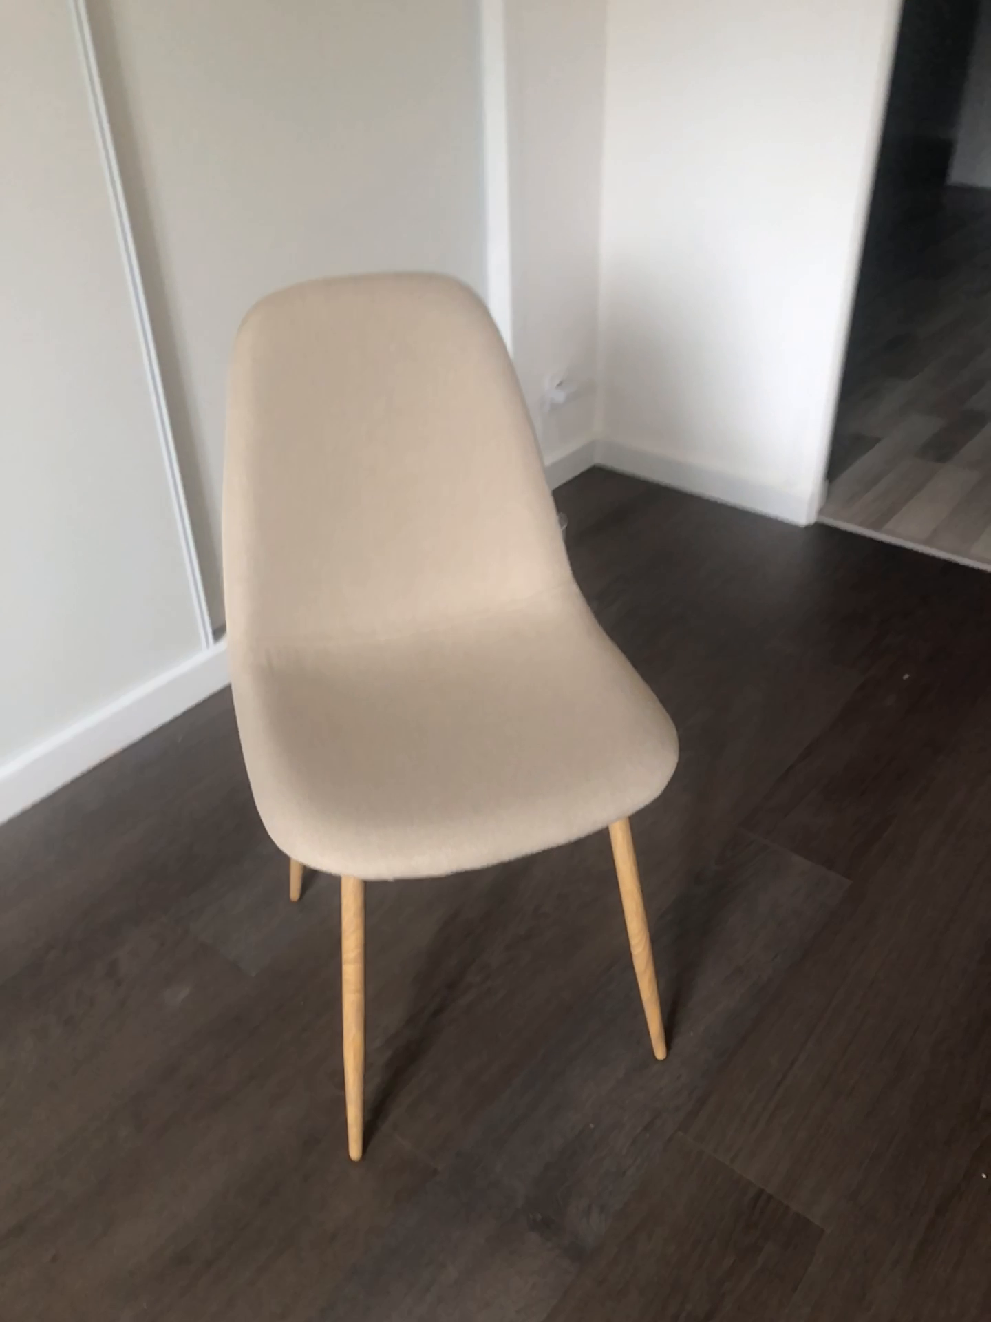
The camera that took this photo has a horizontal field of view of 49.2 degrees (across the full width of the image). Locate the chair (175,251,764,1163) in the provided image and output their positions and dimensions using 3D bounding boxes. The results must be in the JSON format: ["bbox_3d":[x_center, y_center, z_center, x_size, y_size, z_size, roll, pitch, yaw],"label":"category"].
[{"bbox_3d":[-0.055,0.048,1.243,0.431,0.845,0.502,-11,35,-13],"label":"chair"}]
